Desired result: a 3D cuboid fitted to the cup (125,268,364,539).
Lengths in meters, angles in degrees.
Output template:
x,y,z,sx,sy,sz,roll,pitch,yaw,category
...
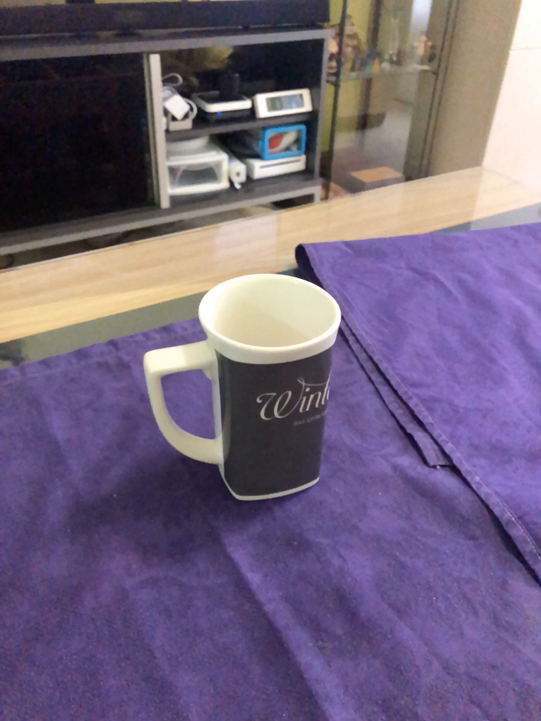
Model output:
x,y,z,sx,sy,sz,roll,pitch,yaw,category
-0.017,0.022,0.324,0.100,0.109,0.070,-10,38,-15,cup
